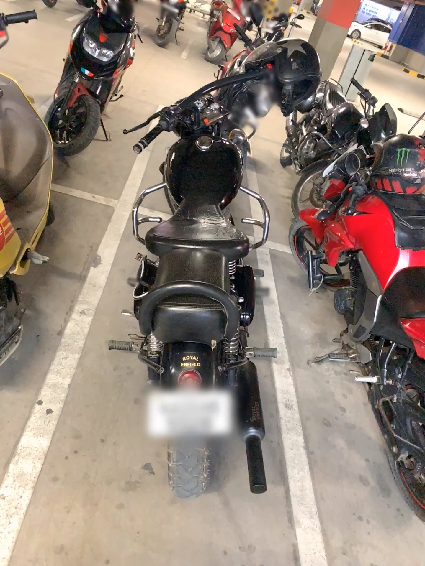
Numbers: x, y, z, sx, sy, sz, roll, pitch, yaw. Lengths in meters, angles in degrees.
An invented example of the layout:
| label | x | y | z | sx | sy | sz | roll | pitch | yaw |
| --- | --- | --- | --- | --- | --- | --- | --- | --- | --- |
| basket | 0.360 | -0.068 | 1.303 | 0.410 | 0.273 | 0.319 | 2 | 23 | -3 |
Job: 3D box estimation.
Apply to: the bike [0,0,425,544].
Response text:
| label | x | y | z | sx | sy | sz | roll | pitch | yaw |
| --- | --- | --- | --- | --- | --- | --- | --- | --- | --- |
| bike | -0.245 | -0.300 | 1.850 | 0.799 | 1.303 | 2.031 | 9 | 36 | -15 |
